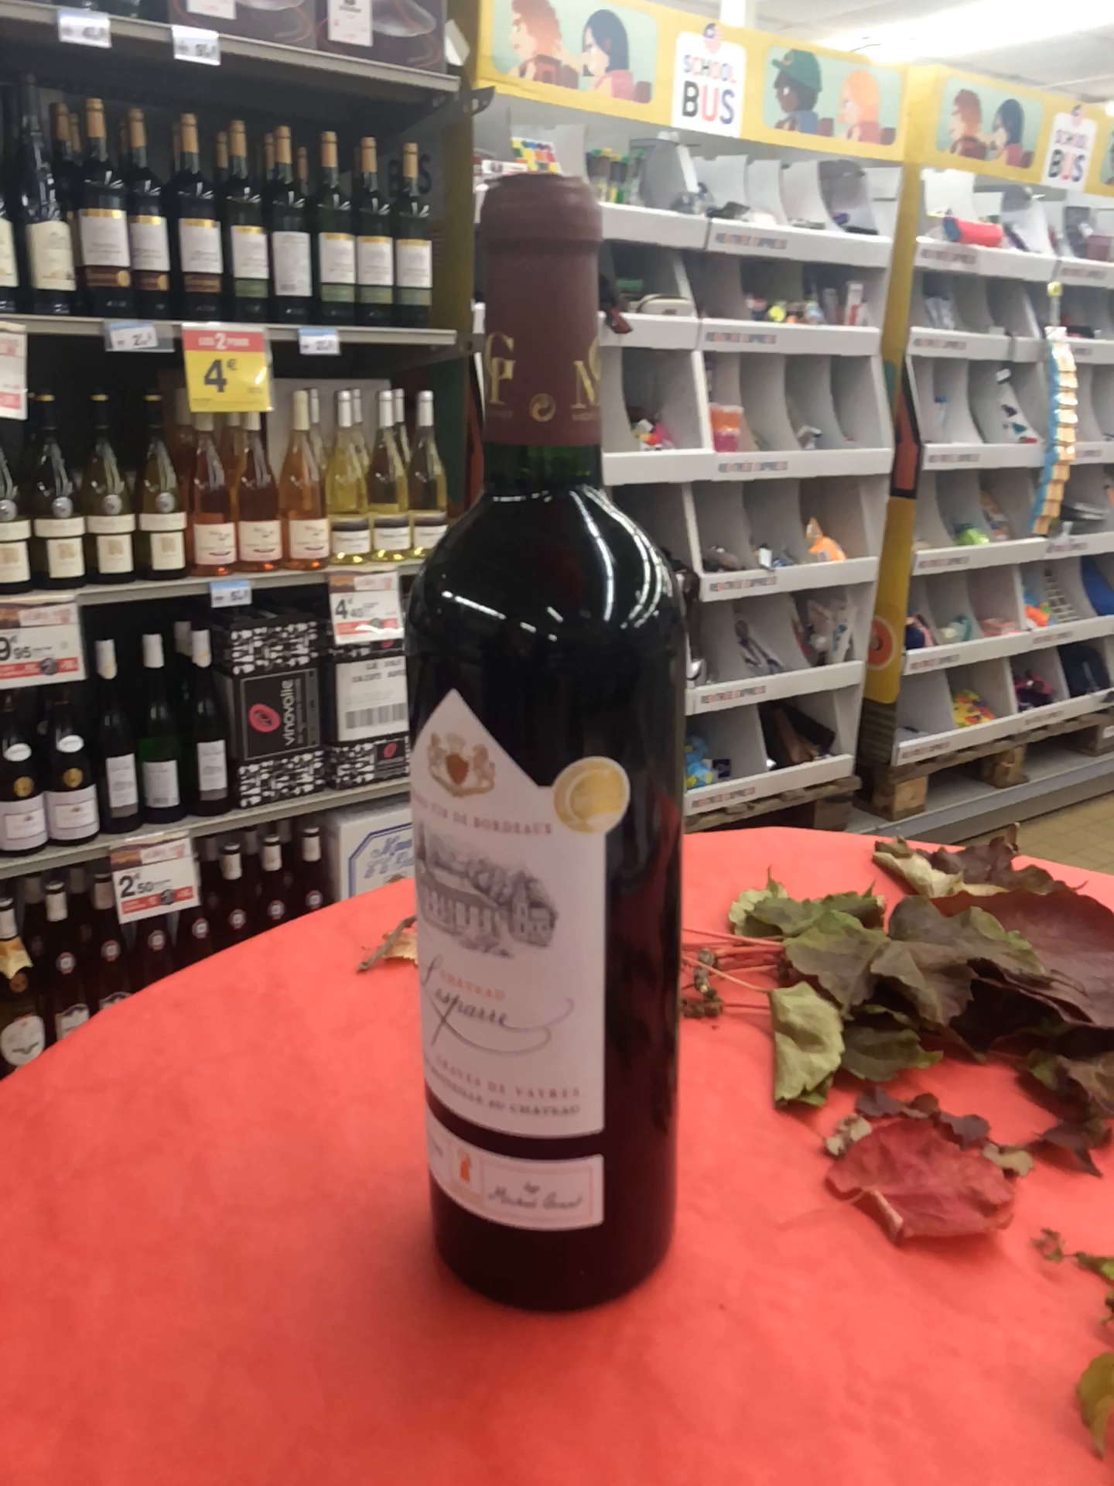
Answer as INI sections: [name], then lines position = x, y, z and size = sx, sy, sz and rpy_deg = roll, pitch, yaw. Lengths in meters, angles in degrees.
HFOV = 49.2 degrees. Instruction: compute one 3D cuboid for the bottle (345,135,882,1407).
[bottle]
position = 0.009, 0.010, 0.331
size = 0.090, 0.299, 0.090
rpy_deg = 2, 17, -1
